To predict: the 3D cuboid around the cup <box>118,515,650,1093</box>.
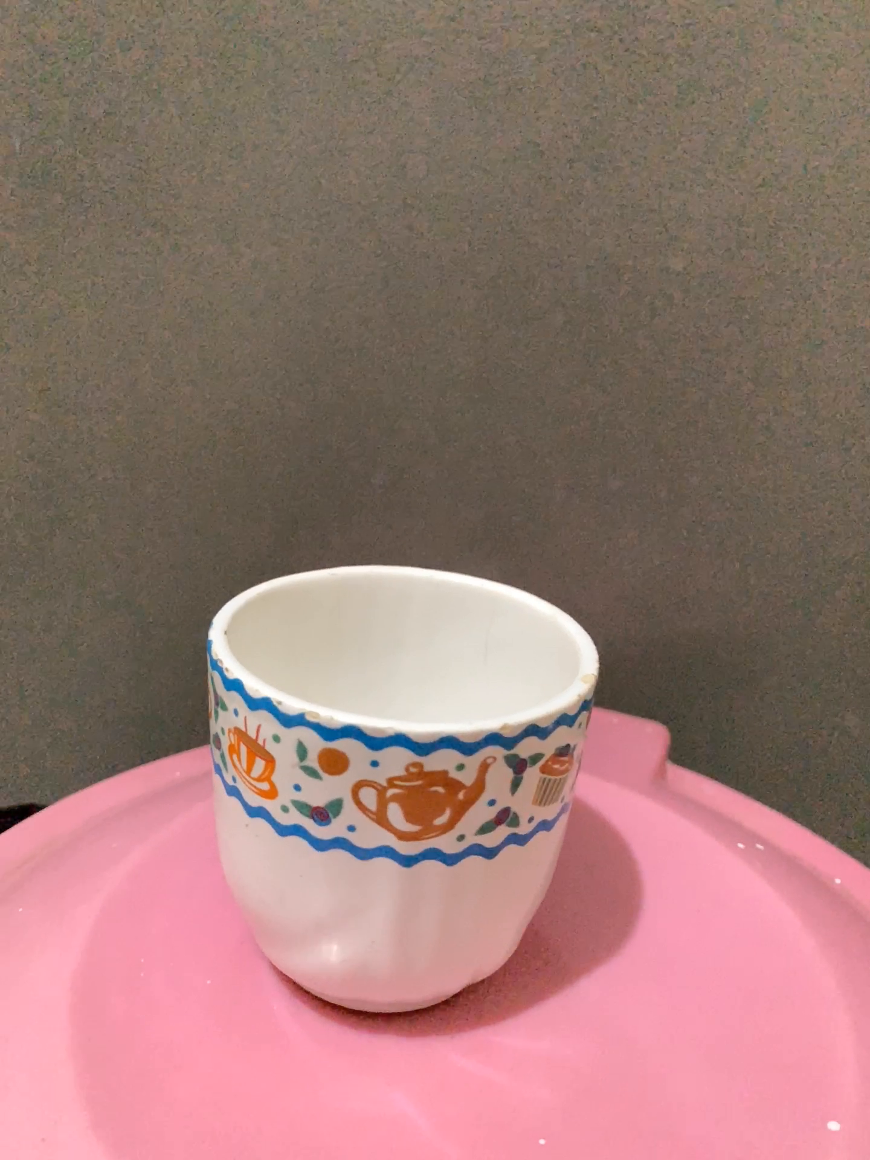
[{"bbox_3d":[-0.004,0.031,0.168,0.076,0.062,0.072,5,17,-2],"label":"cup"}]
